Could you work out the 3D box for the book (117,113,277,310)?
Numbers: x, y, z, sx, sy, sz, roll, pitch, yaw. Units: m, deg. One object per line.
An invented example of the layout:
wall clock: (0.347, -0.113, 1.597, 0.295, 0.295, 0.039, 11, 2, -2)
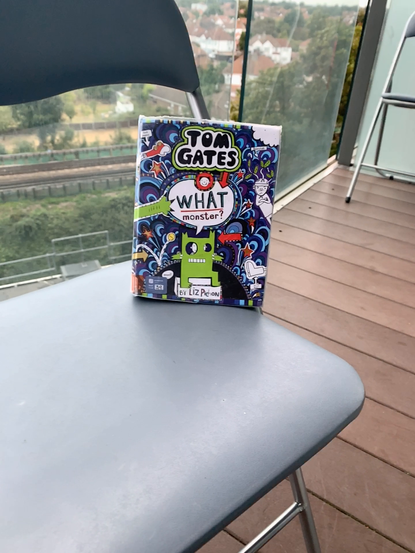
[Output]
book: (-0.014, -0.071, 0.483, 0.160, 0.199, 0.050, 4, 11, 1)
